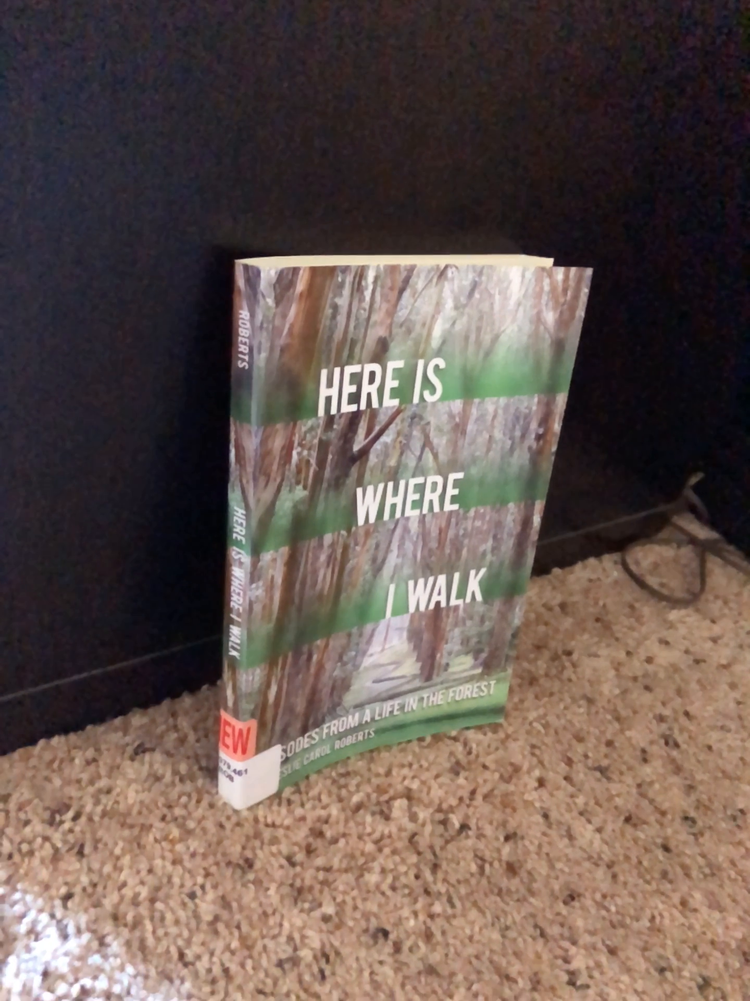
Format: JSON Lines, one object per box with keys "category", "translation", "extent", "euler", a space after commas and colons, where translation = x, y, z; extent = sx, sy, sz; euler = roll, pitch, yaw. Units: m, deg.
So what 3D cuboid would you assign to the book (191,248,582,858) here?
{"category": "book", "translation": [0.003, 0.014, 0.326], "extent": [0.146, 0.212, 0.037], "euler": [-14, 28, -38]}
